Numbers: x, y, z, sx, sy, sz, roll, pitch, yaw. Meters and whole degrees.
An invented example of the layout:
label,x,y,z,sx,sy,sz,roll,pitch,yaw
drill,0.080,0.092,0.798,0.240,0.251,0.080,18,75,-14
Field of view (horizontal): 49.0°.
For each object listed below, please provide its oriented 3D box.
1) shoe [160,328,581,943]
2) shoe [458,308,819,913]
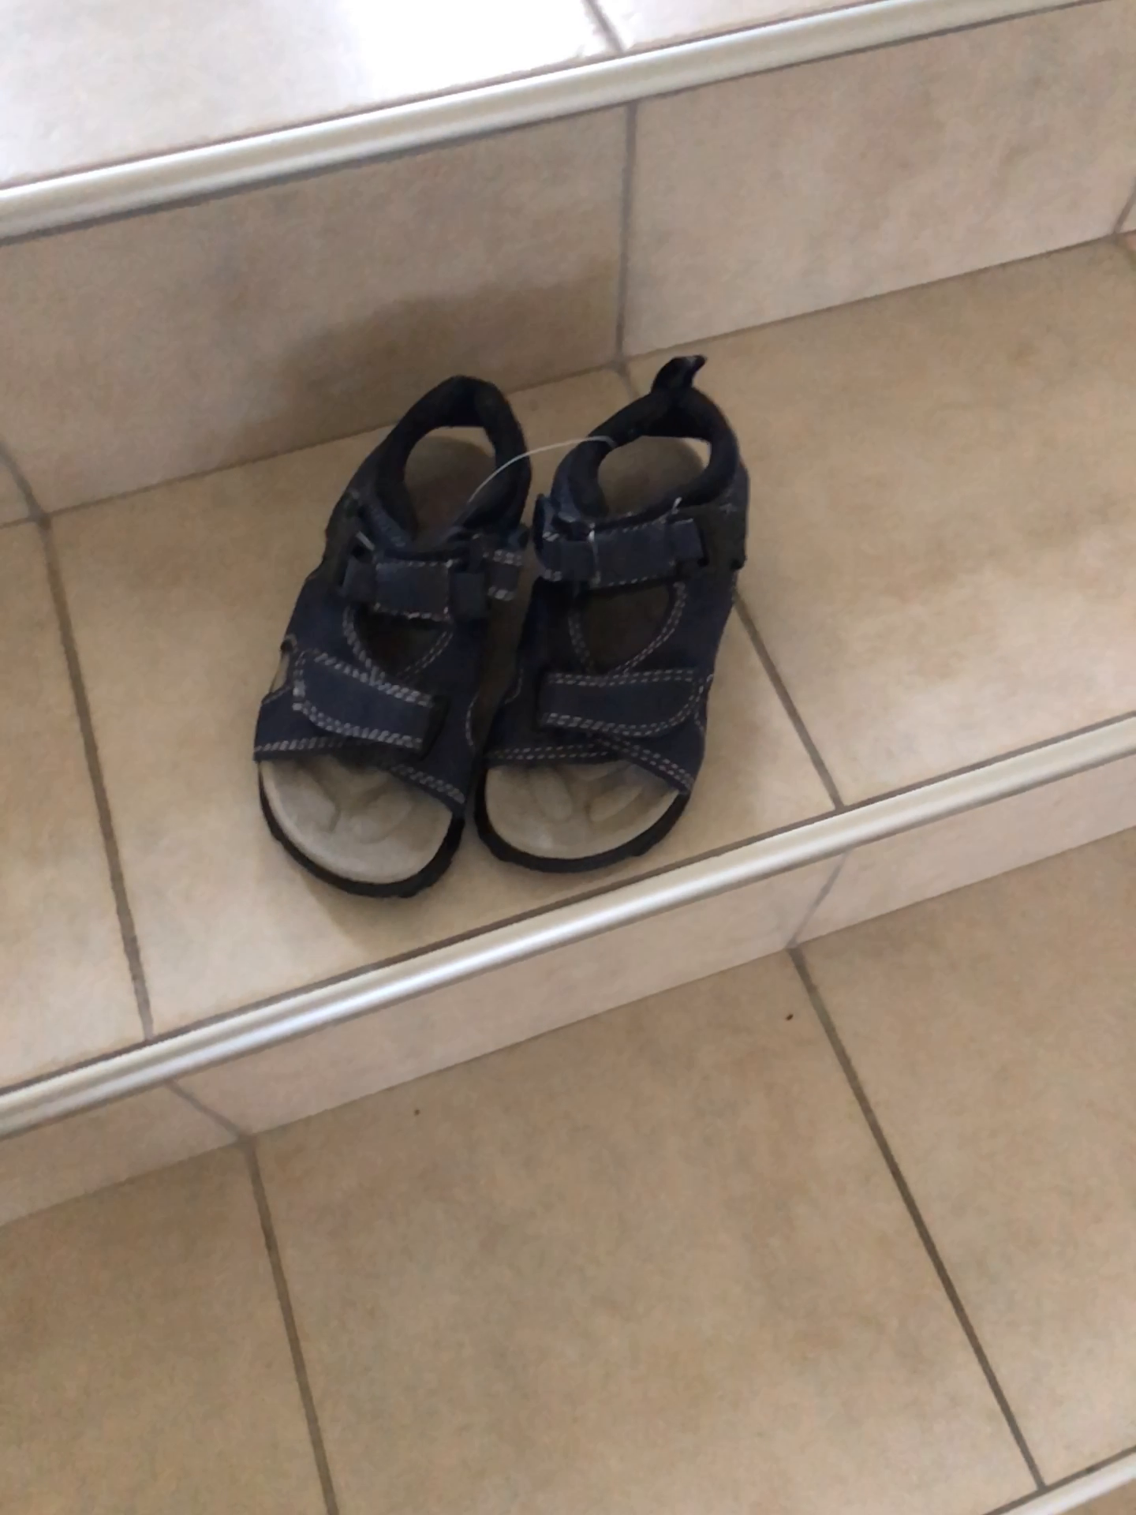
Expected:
label,x,y,z,sx,sy,sz,roll,pitch,yaw
shoe,-0.068,-0.055,0.520,0.100,0.090,0.231,11,63,5
shoe,0.034,-0.066,0.527,0.100,0.090,0.231,11,63,5
